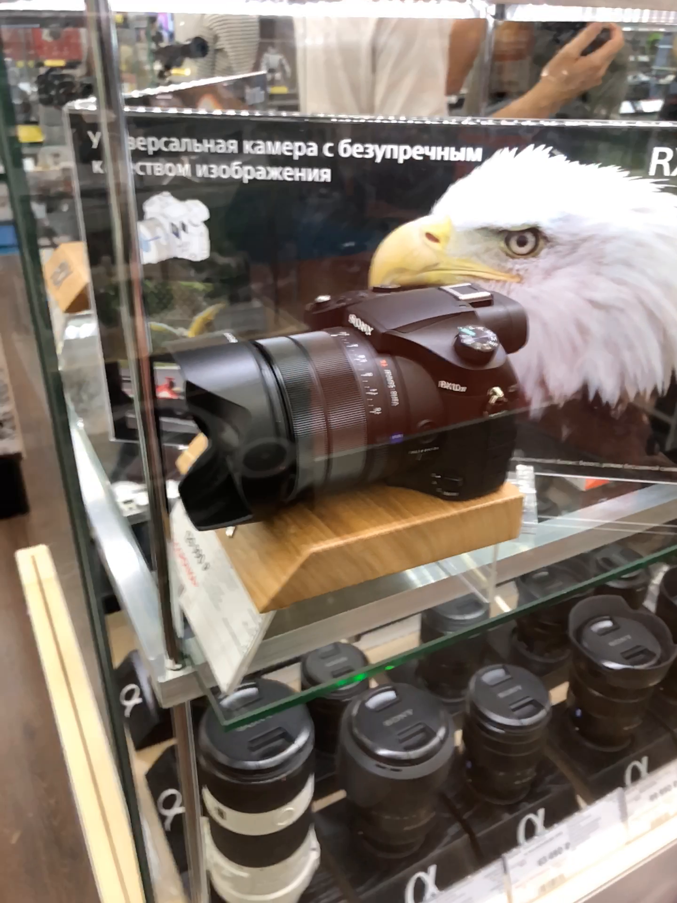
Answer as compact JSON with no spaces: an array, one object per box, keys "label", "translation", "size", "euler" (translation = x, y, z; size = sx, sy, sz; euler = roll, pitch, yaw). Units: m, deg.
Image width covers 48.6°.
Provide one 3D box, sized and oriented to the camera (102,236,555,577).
[{"label":"camera","translation":[-0.009,-0.037,0.380],"size":[0.178,0.099,0.127],"euler":[-13,32,-23]}]
